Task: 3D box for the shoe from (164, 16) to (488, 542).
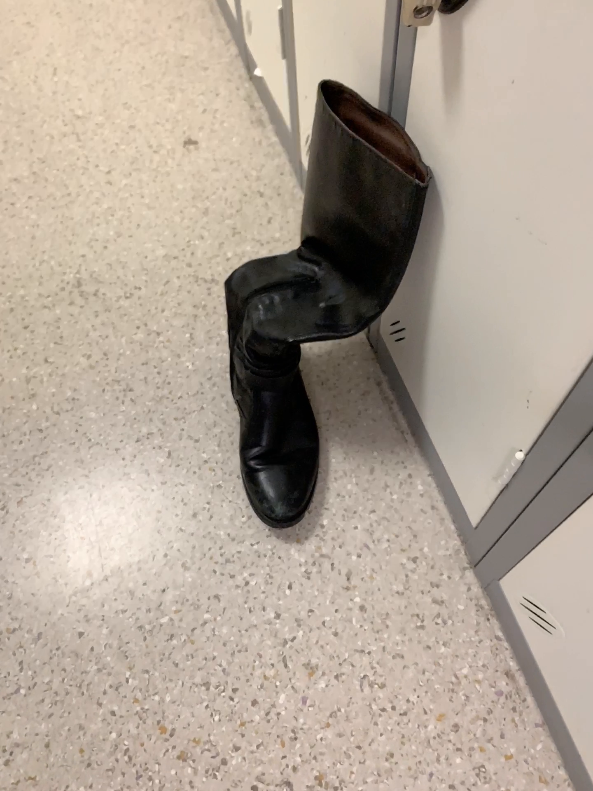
[{"bbox_3d":[0.003,-0.081,0.558,0.167,0.331,0.315,-8,60,-3],"label":"shoe"}]
